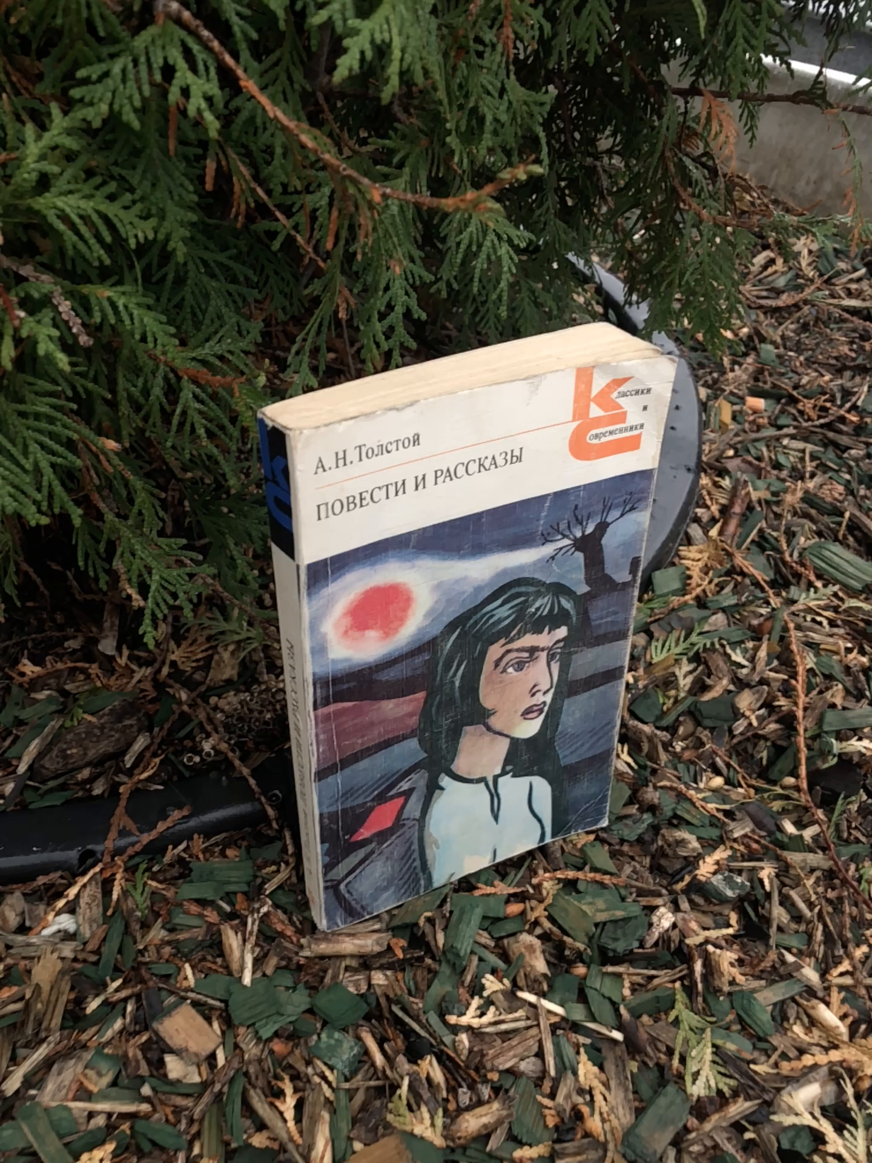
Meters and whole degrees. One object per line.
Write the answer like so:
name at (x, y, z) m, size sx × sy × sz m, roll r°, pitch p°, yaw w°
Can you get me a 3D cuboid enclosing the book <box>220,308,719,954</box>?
book at (0.011, 0.023, 0.316) m, size 0.130 × 0.196 × 0.041 m, roll -16°, pitch 39°, yaw -21°
